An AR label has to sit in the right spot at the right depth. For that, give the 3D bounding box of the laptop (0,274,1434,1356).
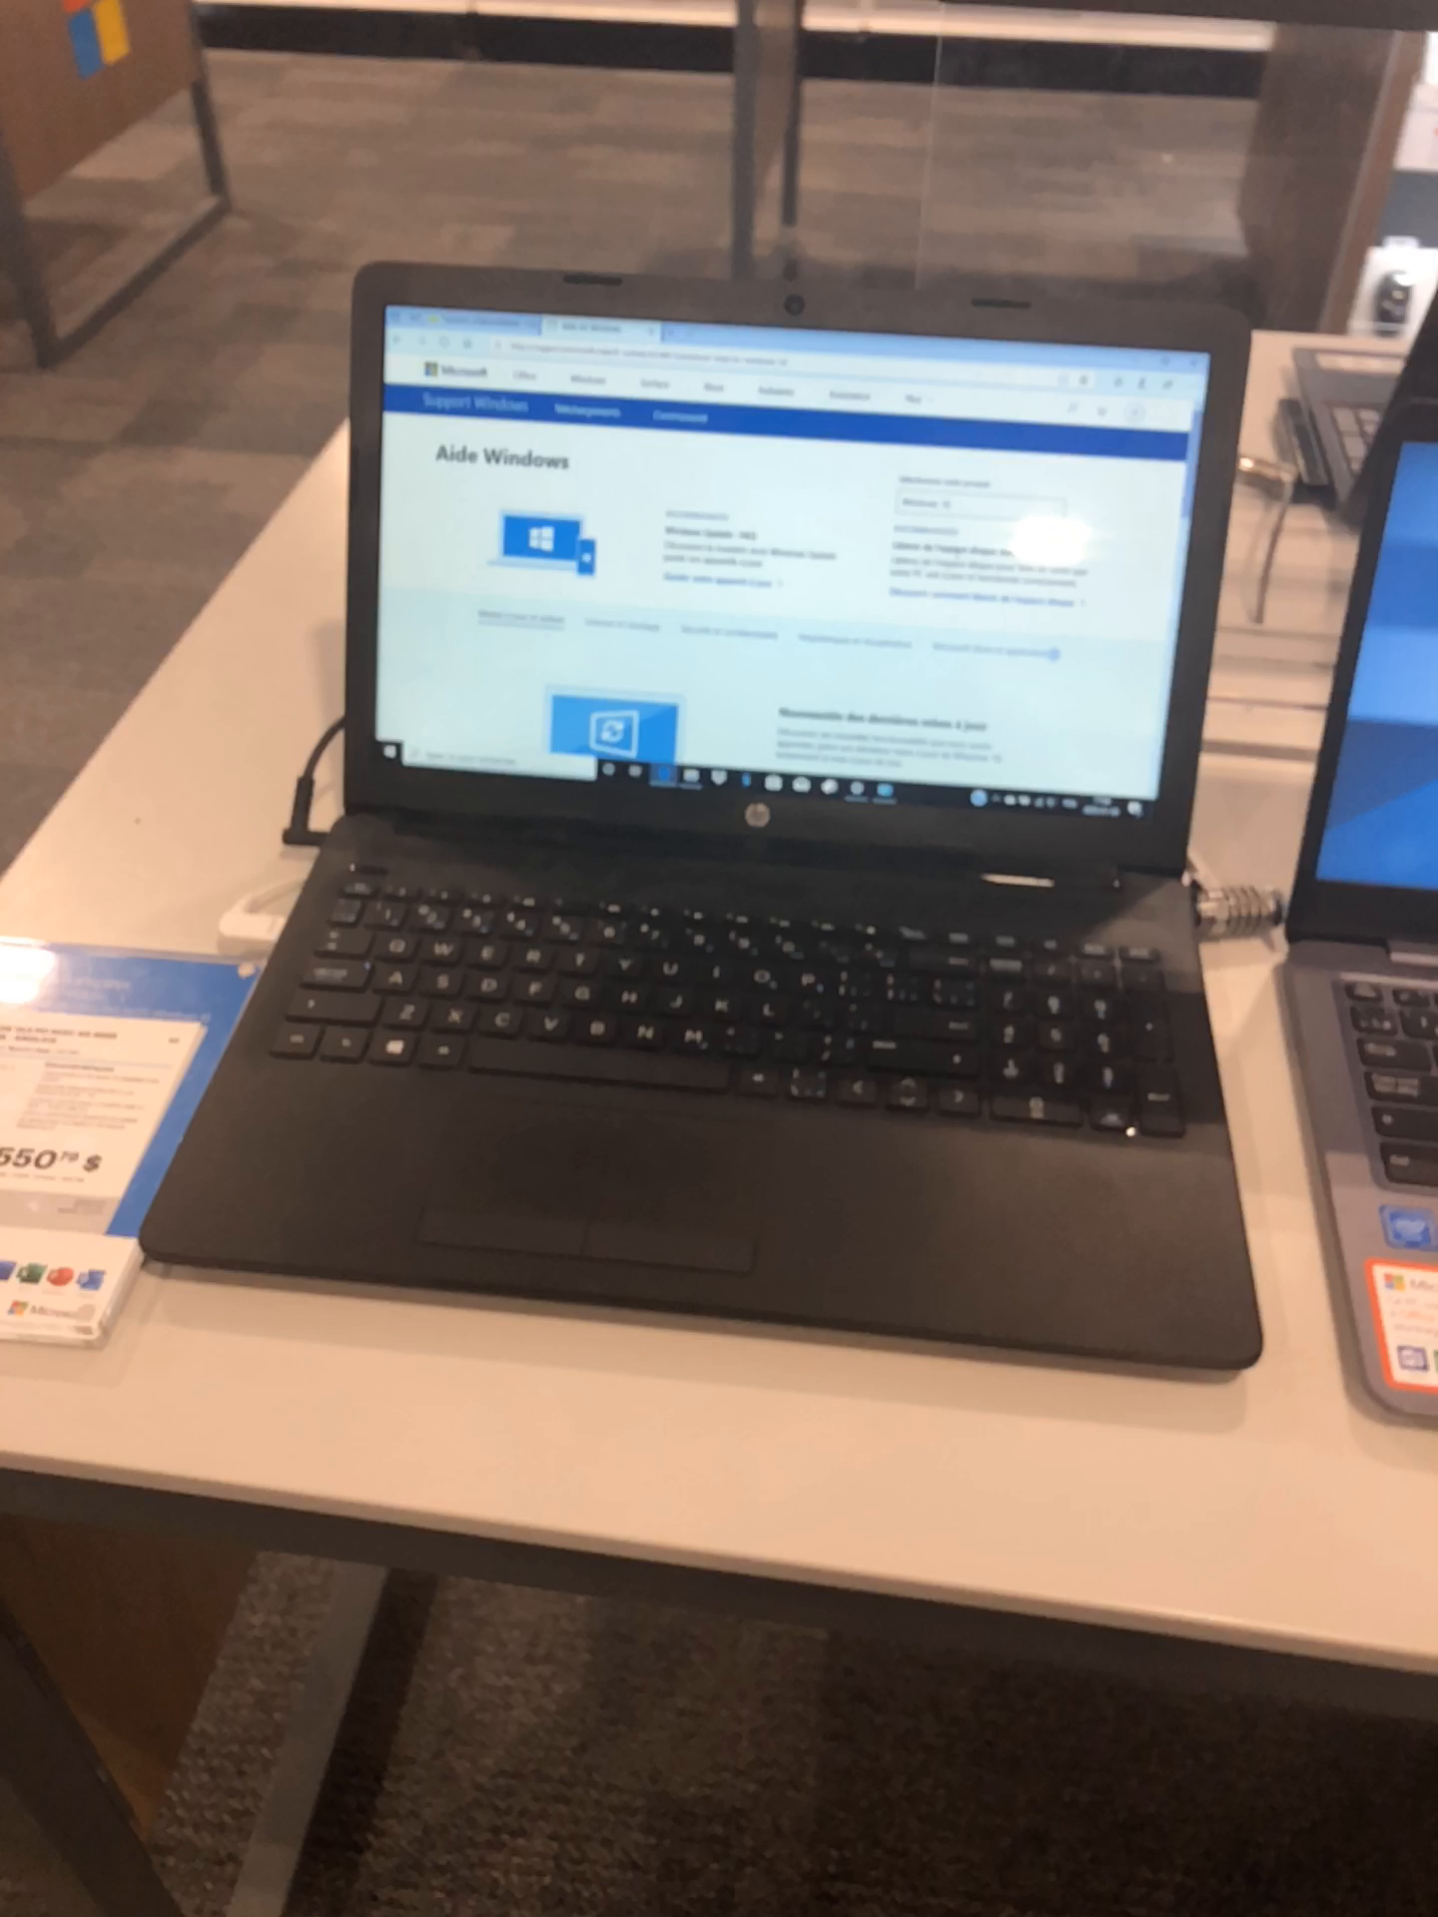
[{"bbox_3d":[0.005,-0.083,0.582,0.356,0.195,0.361,5,42,5],"label":"laptop"}]
